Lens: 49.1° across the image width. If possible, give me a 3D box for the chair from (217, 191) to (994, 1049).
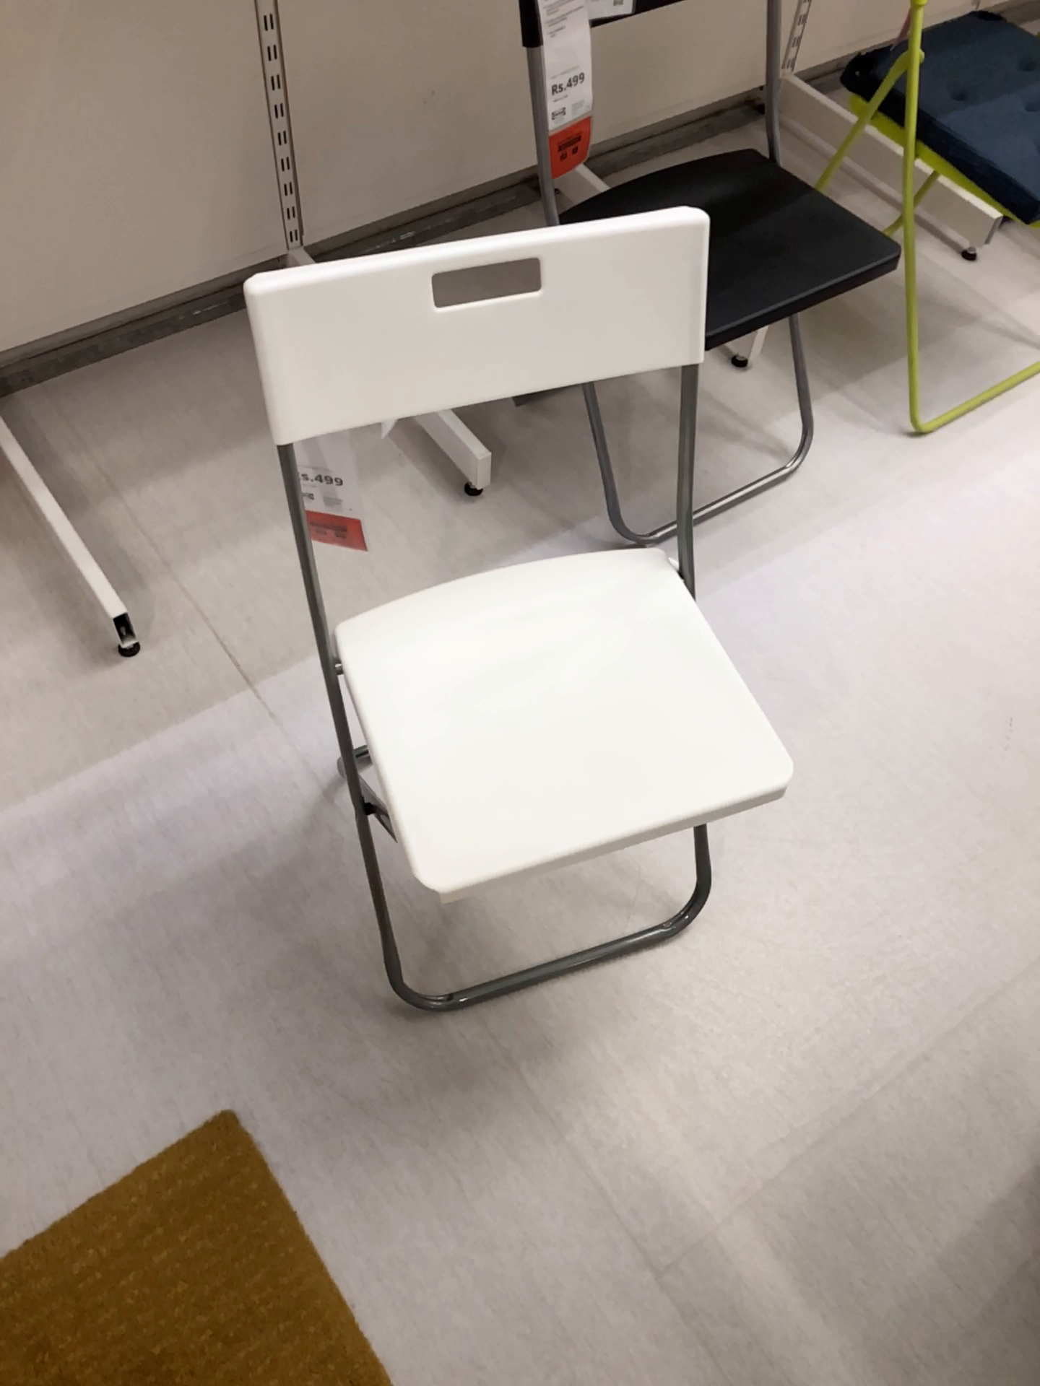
[{"bbox_3d":[0.022,-0.017,1.127,0.450,0.726,0.402,-14,59,-14],"label":"chair"}]
